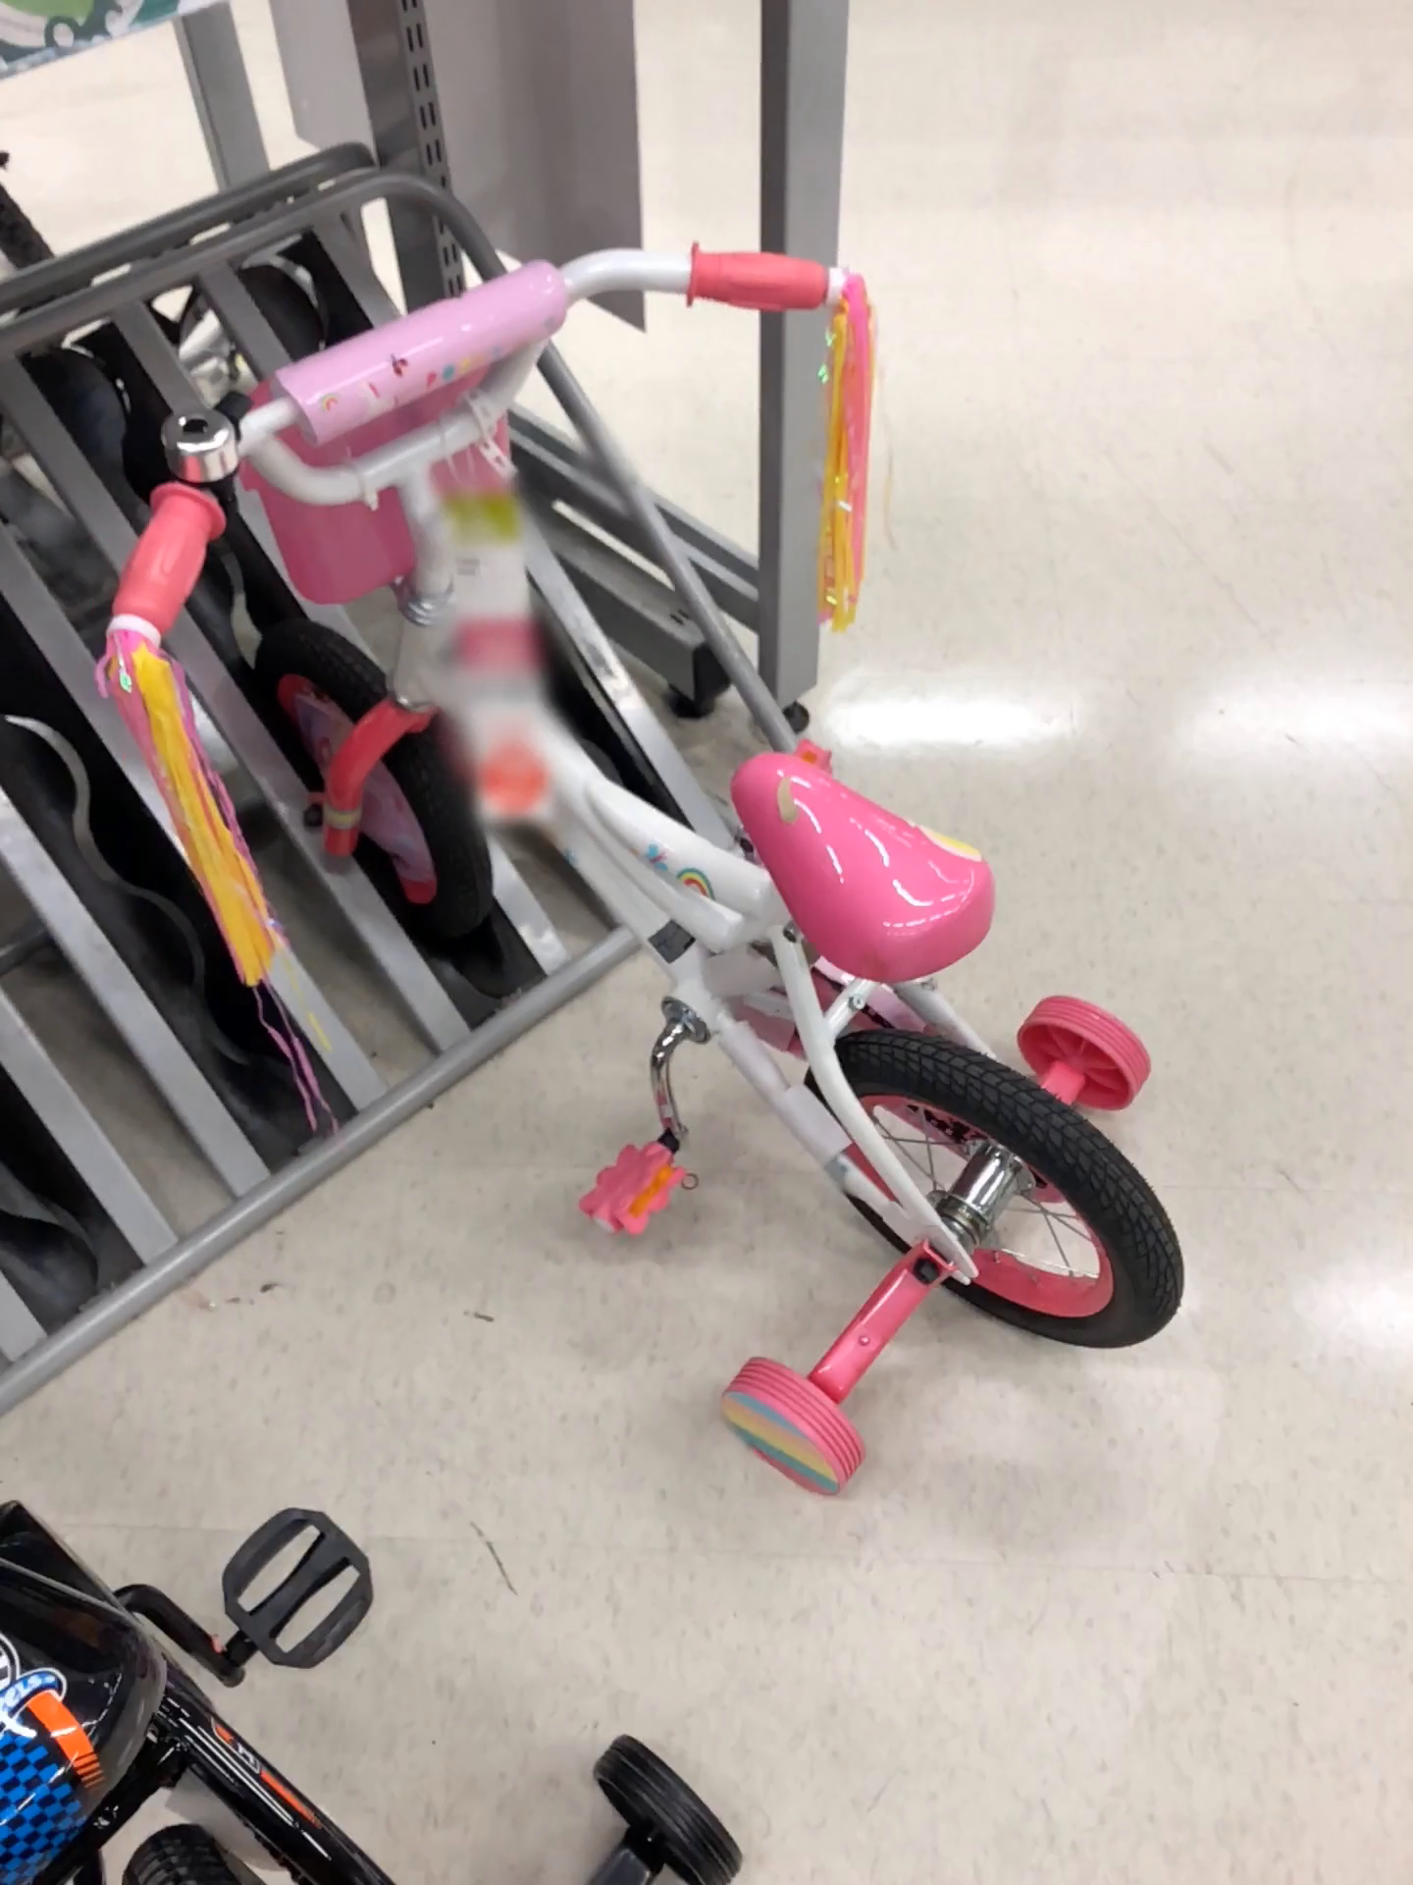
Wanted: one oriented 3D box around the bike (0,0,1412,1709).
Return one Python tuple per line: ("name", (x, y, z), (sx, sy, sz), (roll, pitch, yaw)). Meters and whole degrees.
("bike", (-0.079, -0.103, 1.037), (0.945, 0.591, 0.517), (31, 59, 22))
